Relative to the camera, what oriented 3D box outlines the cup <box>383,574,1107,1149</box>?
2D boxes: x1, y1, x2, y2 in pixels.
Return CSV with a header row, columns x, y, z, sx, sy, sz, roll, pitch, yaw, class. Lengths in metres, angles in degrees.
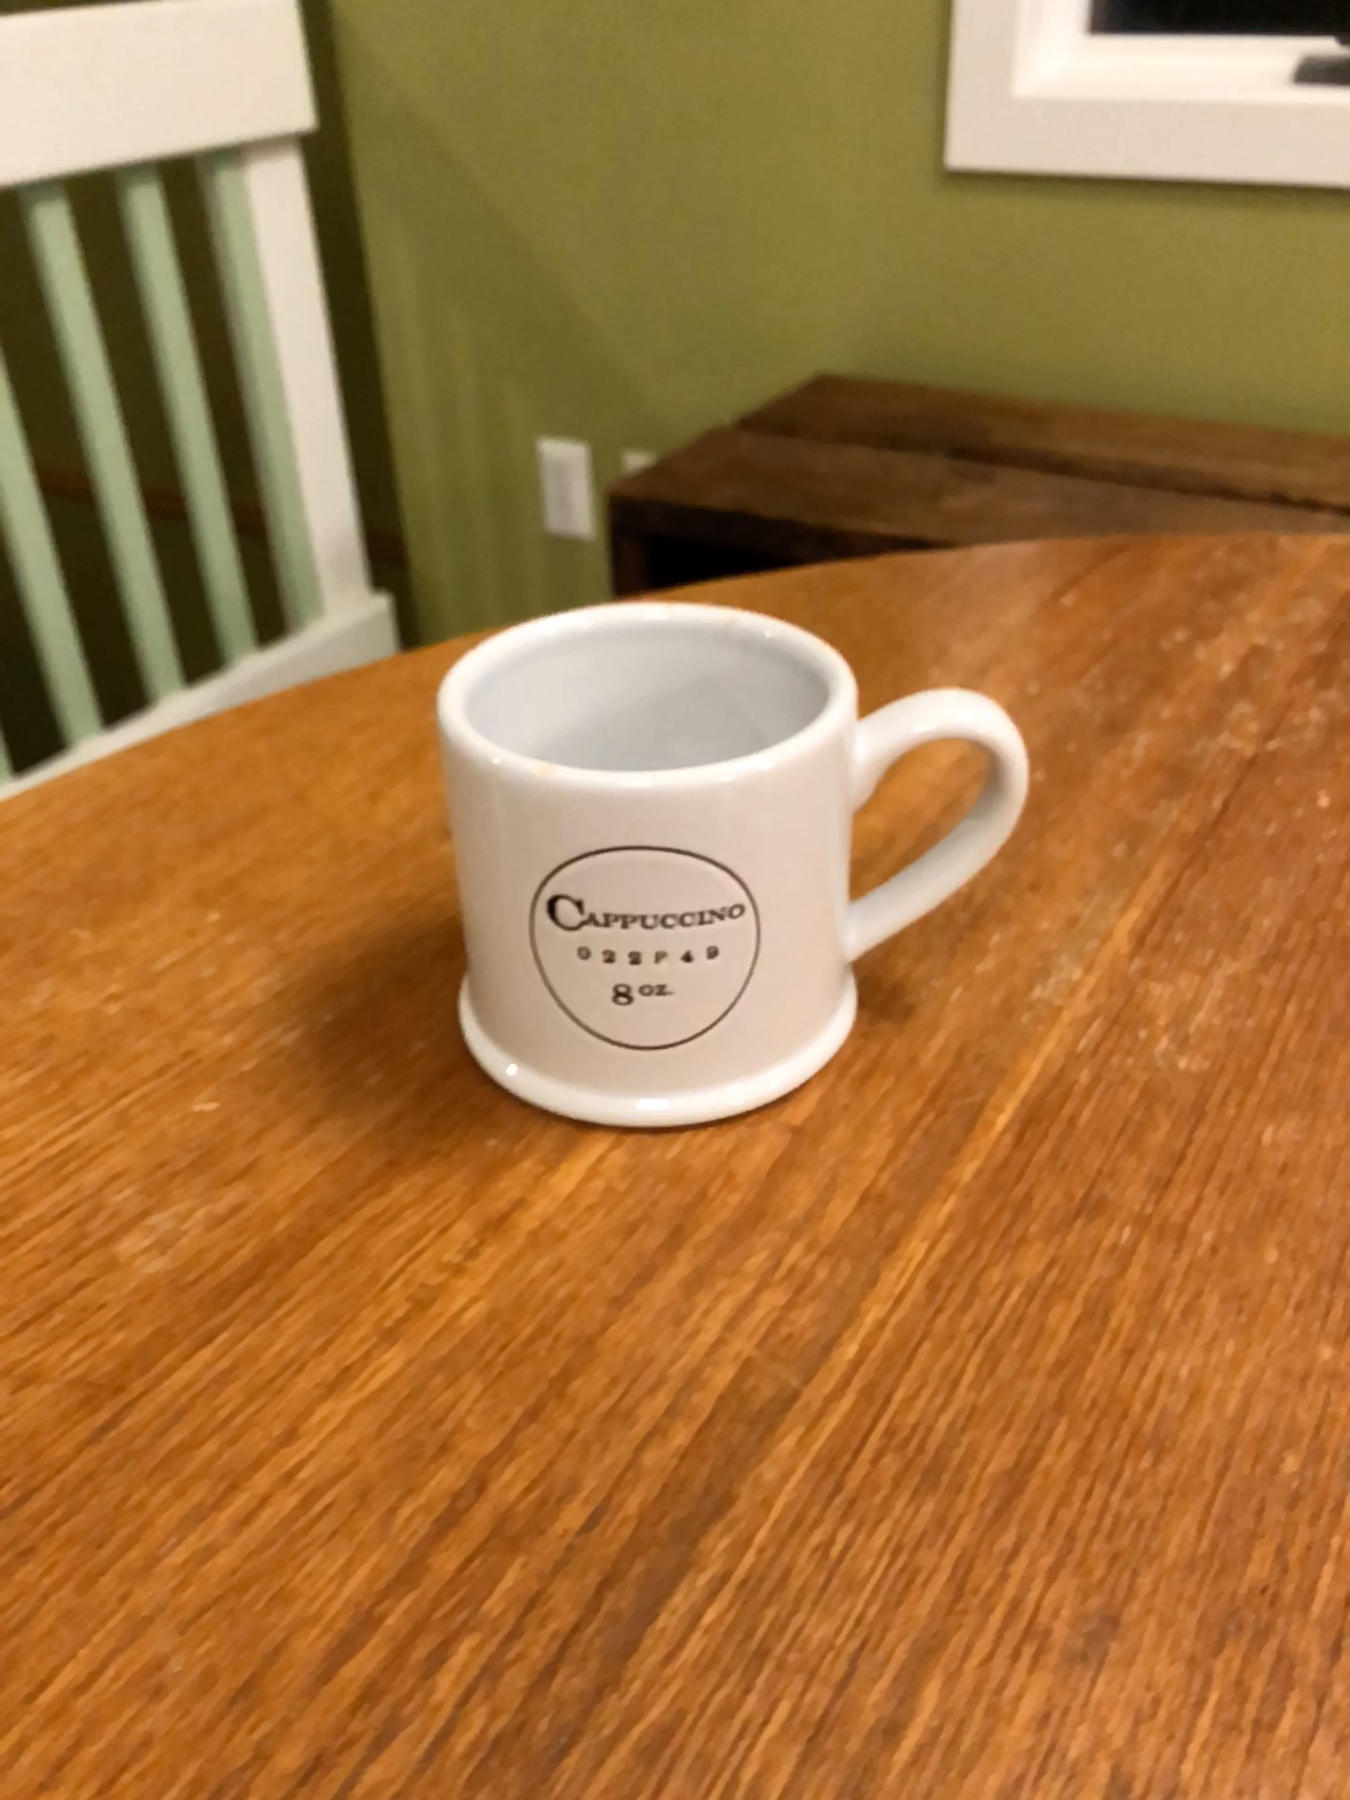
x,y,z,sx,sy,sz,roll,pitch,yaw,class
0.011,-0.013,0.338,0.135,0.082,0.090,-5,33,-4,cup
